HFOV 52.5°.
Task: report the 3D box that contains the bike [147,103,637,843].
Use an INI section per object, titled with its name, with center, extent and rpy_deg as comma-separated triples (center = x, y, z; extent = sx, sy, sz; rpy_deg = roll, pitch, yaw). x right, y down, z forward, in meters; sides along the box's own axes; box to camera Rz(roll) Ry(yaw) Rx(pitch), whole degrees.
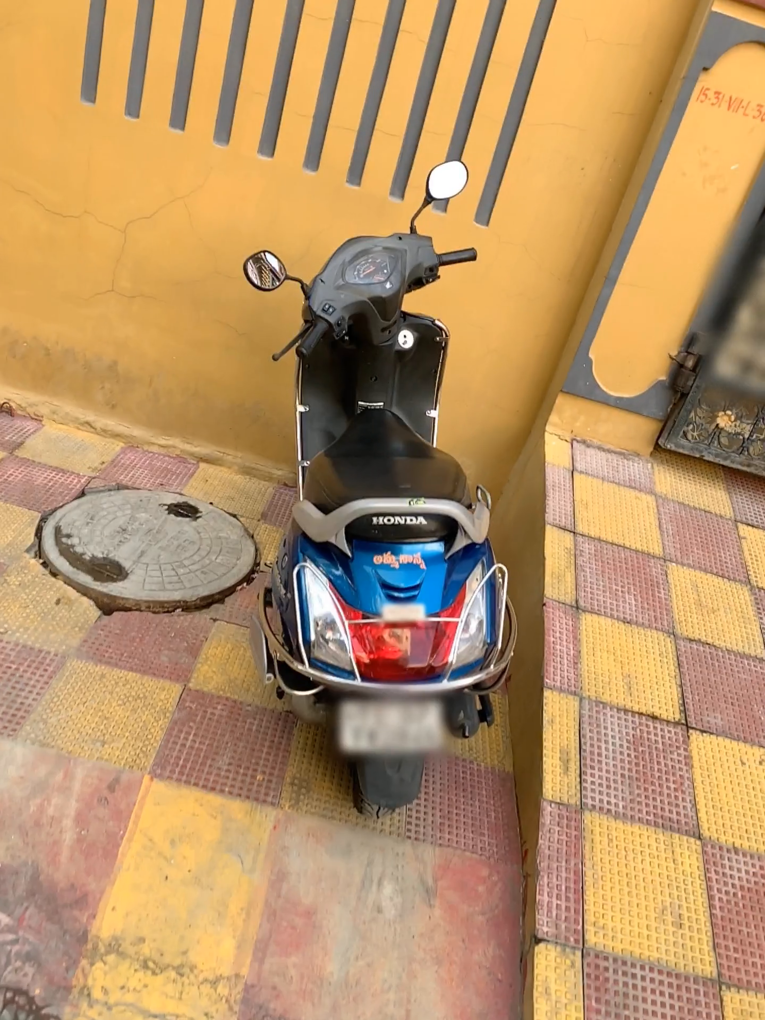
[bike]
center = -0.144, -0.260, 2.024
extent = 0.596, 1.098, 1.533
rpy_deg = 10, 30, -16
